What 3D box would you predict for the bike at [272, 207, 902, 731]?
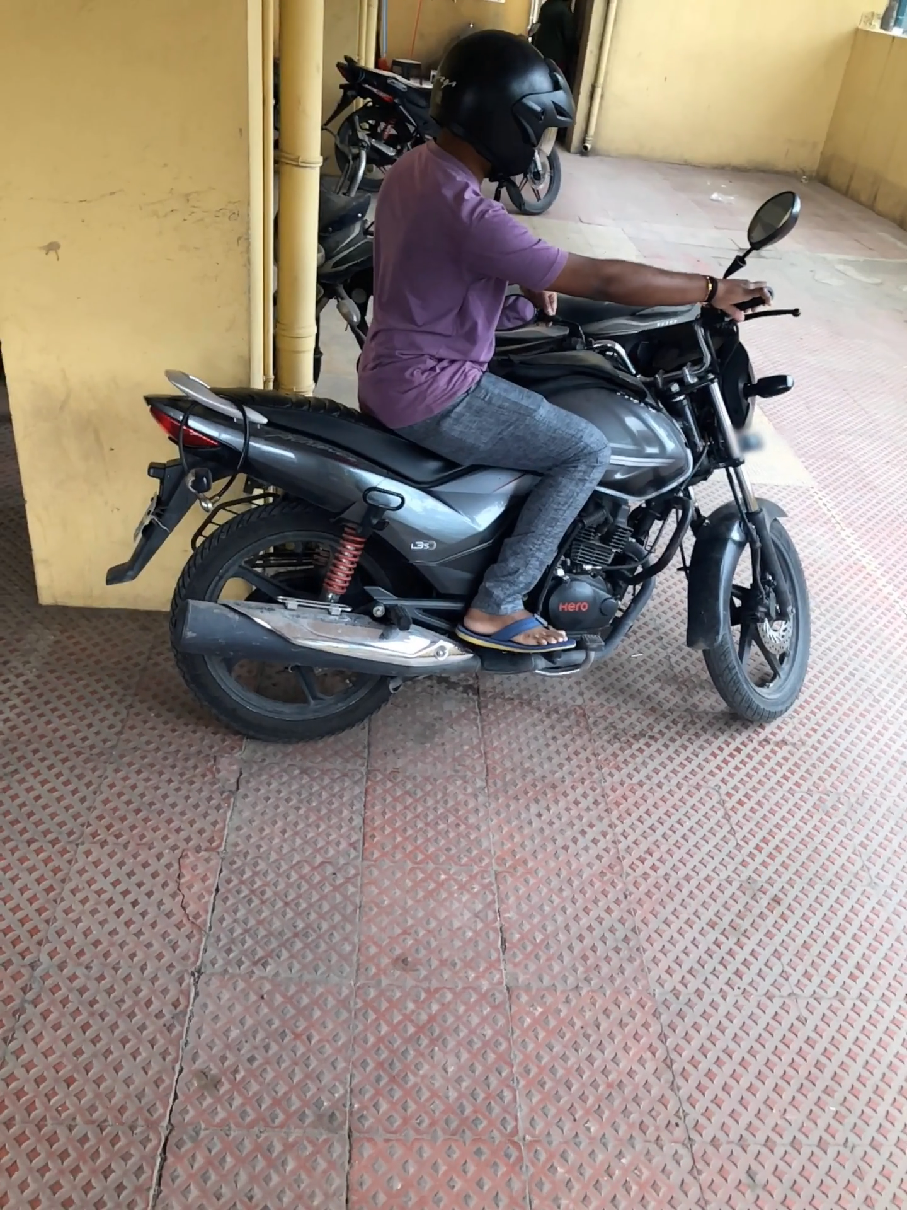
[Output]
[{"bbox_3d":[0.216,-0.321,2.491,1.237,0.999,0.703,-1,34,-16],"label":"bike"}]
